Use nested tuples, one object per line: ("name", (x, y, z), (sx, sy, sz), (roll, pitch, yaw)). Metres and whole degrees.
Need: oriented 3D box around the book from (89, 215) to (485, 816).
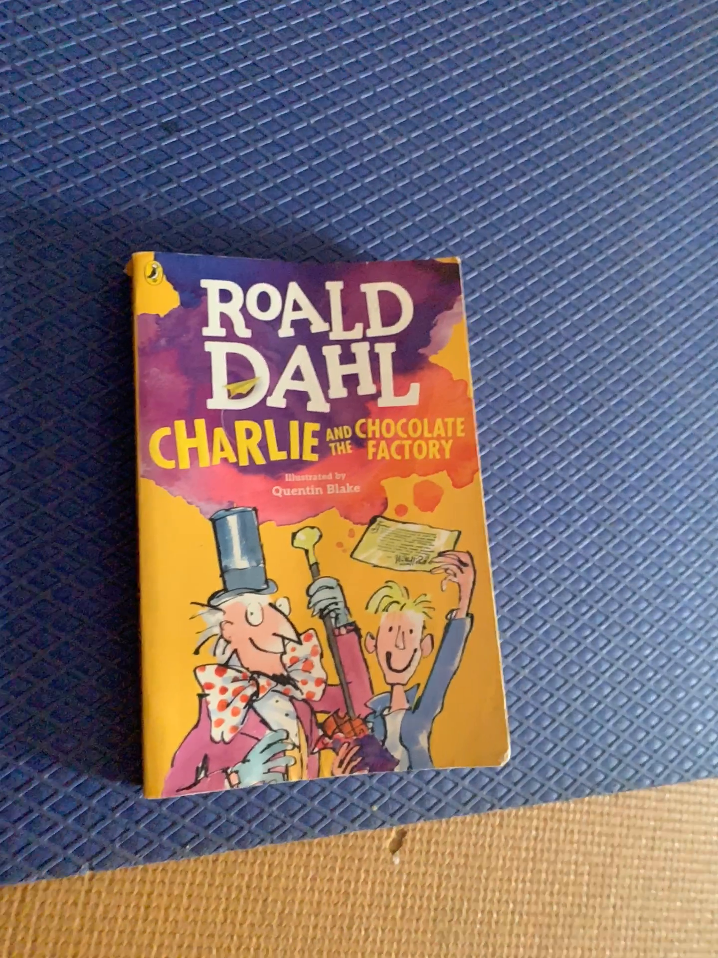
("book", (-0.028, 0.006, 0.291), (0.140, 0.020, 0.210), (-1, 81, -18))
